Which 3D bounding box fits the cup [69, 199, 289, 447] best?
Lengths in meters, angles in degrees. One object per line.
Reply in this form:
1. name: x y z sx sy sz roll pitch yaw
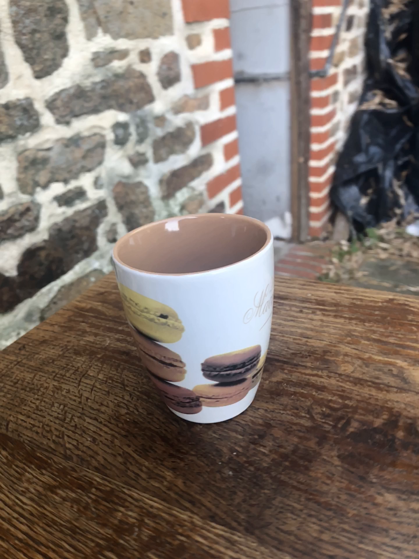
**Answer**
1. cup: -0.004 0.016 0.282 0.093 0.090 0.124 1 29 13
